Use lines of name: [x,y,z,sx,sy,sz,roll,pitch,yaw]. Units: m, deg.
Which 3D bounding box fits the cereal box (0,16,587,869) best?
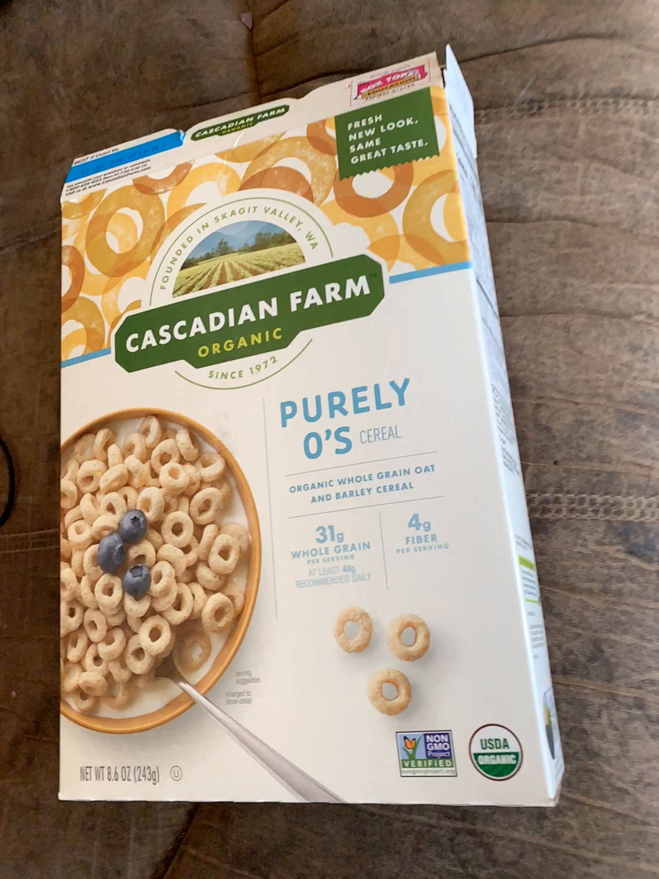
cereal box: [-0.028,-0.002,0.272,0.200,0.070,0.280,-10,69,18]
